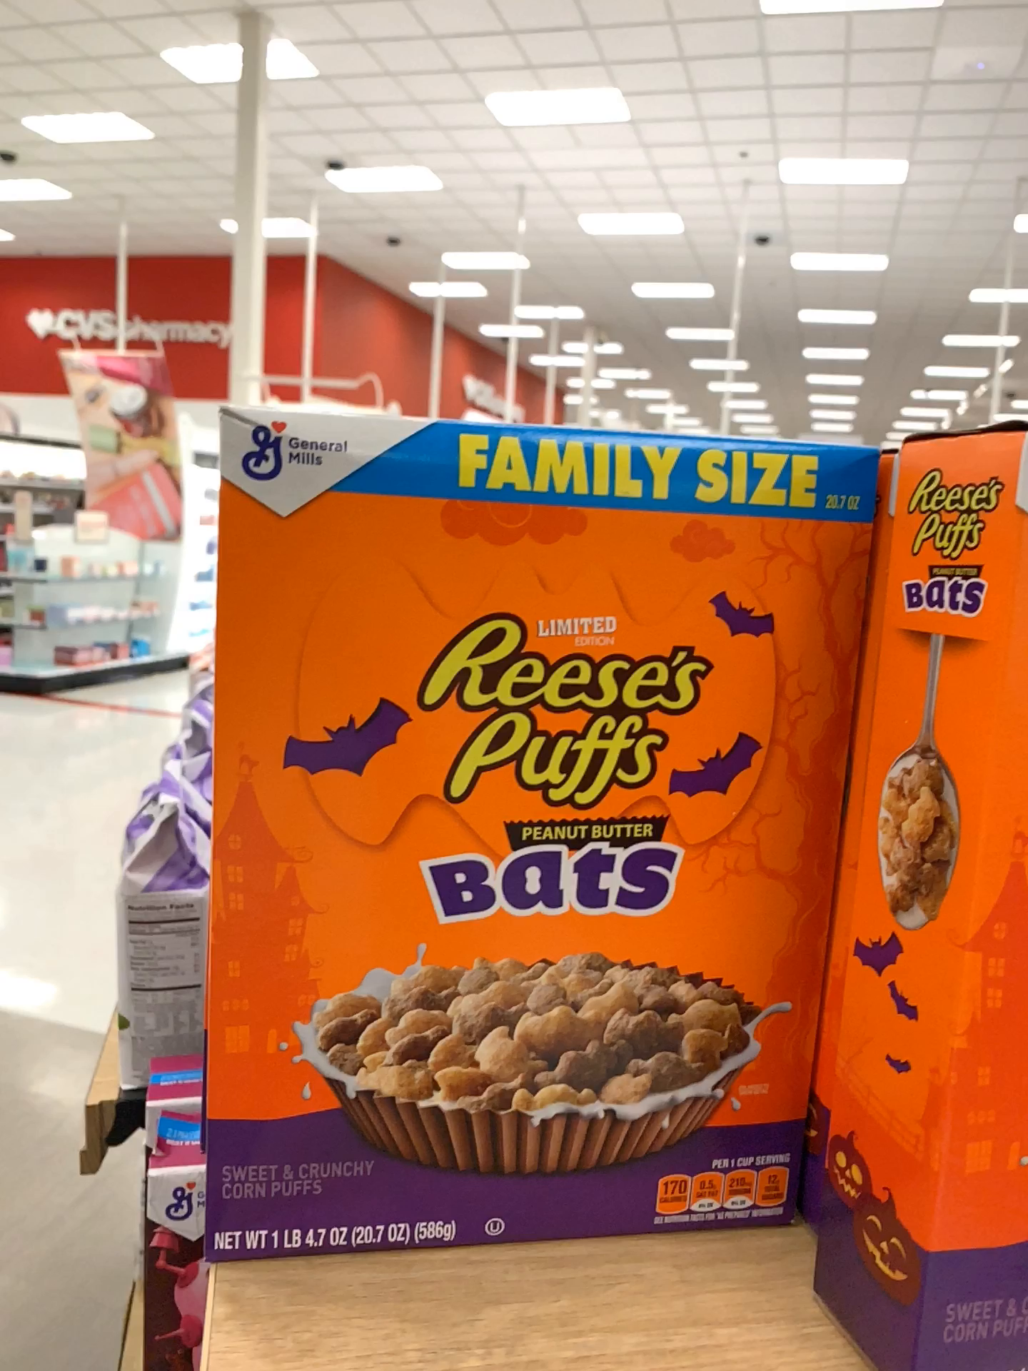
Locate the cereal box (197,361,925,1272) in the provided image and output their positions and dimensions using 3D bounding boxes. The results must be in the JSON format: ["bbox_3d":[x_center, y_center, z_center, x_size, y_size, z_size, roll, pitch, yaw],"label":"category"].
[{"bbox_3d":[0.010,0.051,0.407,0.240,0.309,0.070,2,8,-11],"label":"cereal box"}]
